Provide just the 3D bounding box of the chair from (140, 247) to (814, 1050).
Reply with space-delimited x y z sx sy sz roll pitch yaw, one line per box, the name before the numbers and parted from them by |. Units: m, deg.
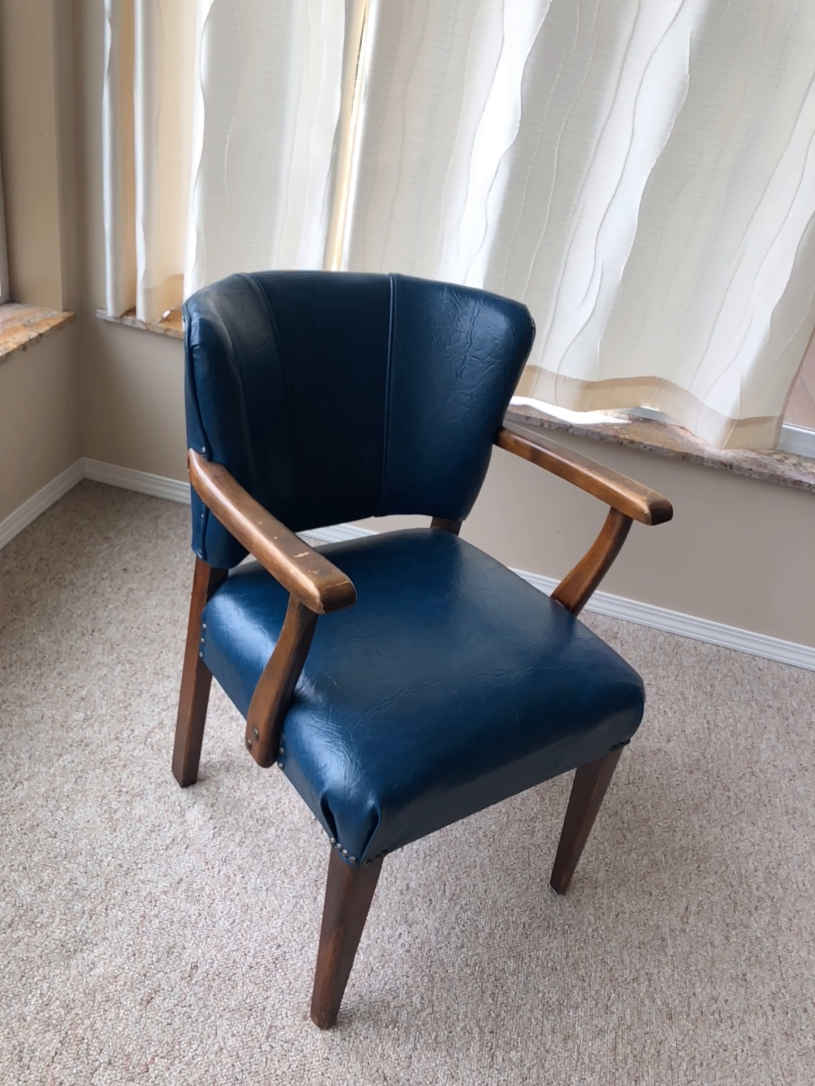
chair | 0.010 0.089 1.212 0.531 0.797 0.561 -13 39 -34
